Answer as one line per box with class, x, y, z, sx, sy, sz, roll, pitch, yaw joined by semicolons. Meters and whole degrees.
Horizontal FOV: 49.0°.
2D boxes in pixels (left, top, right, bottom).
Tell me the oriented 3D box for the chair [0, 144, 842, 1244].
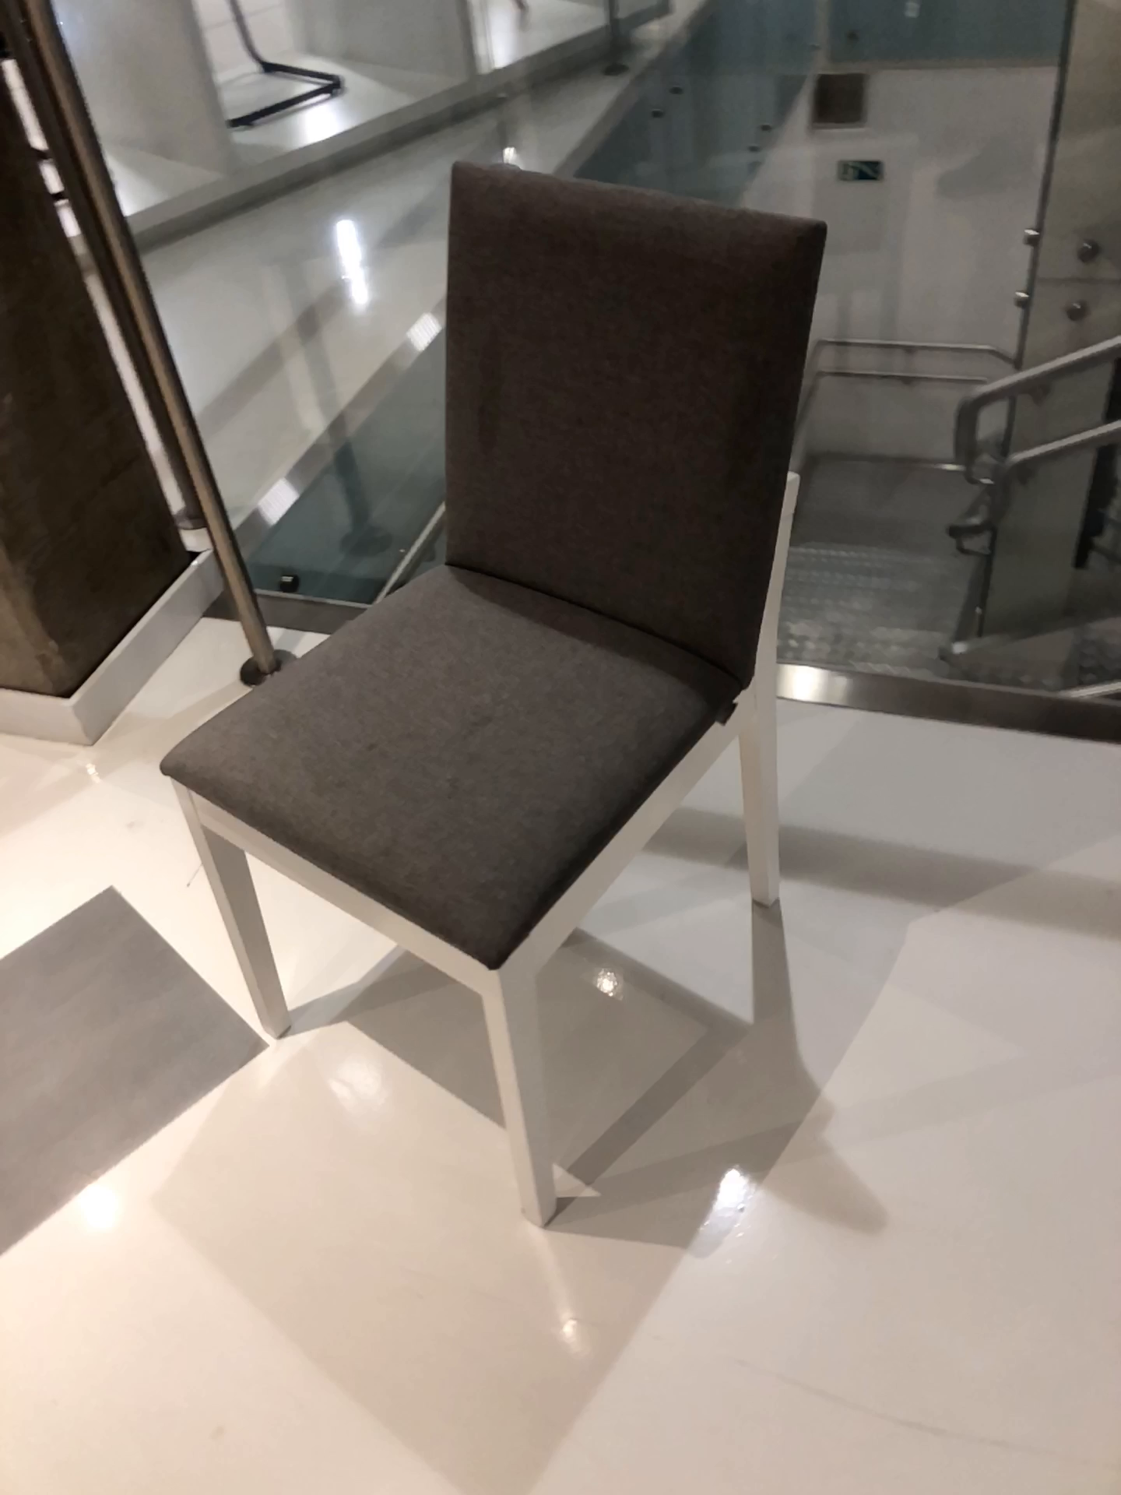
chair;-0.085;-0.050;1.252;0.481;0.844;0.562;25;52;32
